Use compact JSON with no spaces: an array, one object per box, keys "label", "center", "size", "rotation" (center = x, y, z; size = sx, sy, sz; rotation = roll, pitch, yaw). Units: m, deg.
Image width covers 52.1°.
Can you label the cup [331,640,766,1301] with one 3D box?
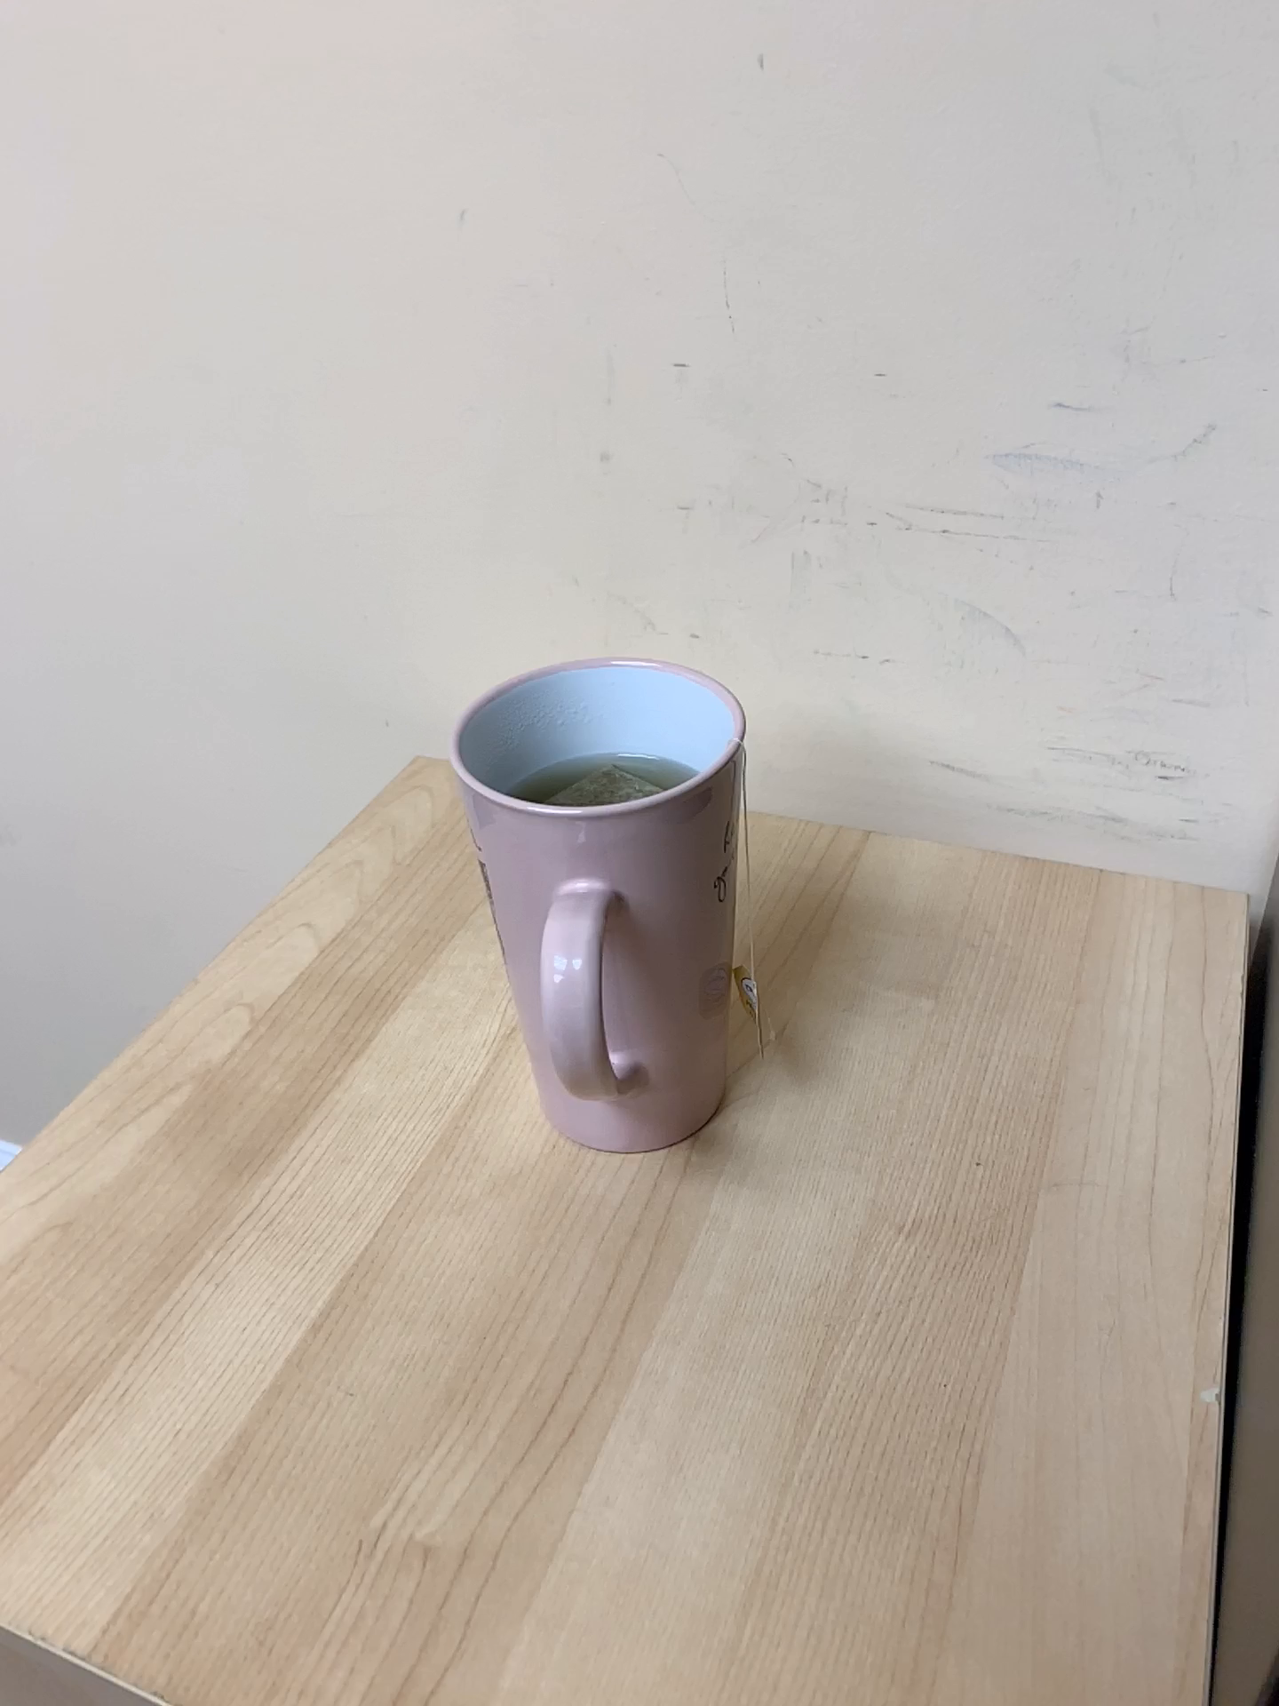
[{"label":"cup","center":[-0.014,0.032,0.414],"size":[0.092,0.151,0.134],"rotation":[3,35,11]}]
